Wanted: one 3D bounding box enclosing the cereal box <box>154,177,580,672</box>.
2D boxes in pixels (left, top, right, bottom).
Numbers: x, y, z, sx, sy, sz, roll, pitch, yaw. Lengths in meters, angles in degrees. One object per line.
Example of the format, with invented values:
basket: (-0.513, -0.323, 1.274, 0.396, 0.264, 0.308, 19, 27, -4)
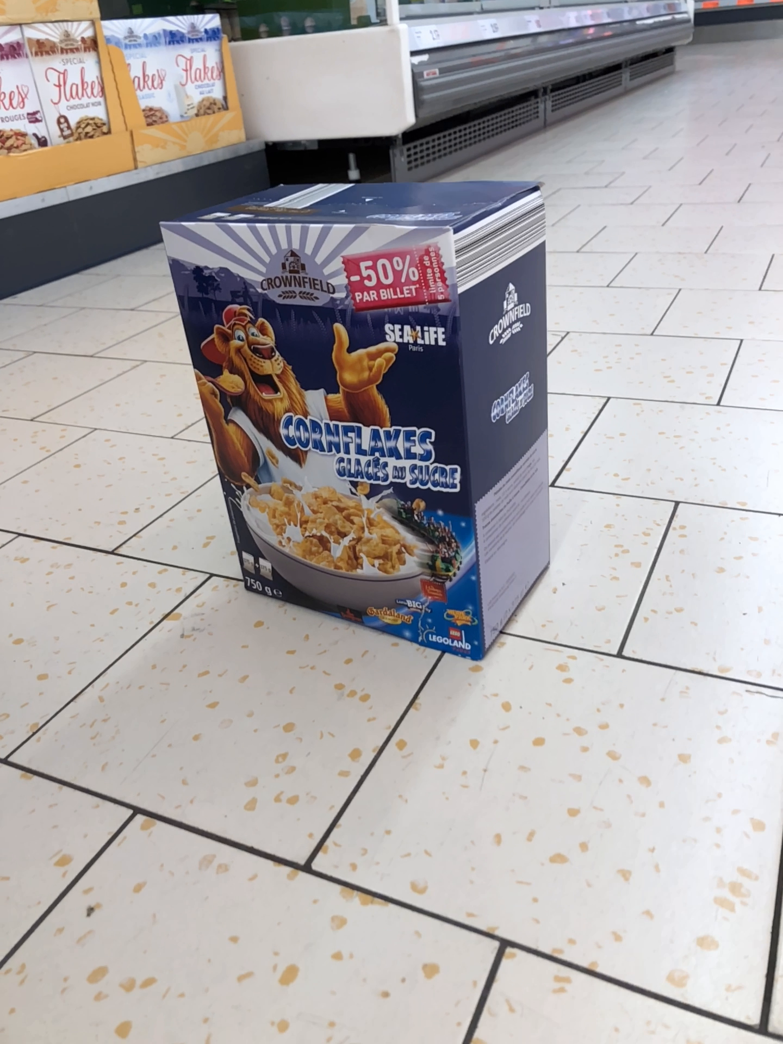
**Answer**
cereal box: (-0.004, -0.073, 0.555, 0.210, 0.259, 0.131, 13, 33, 31)
